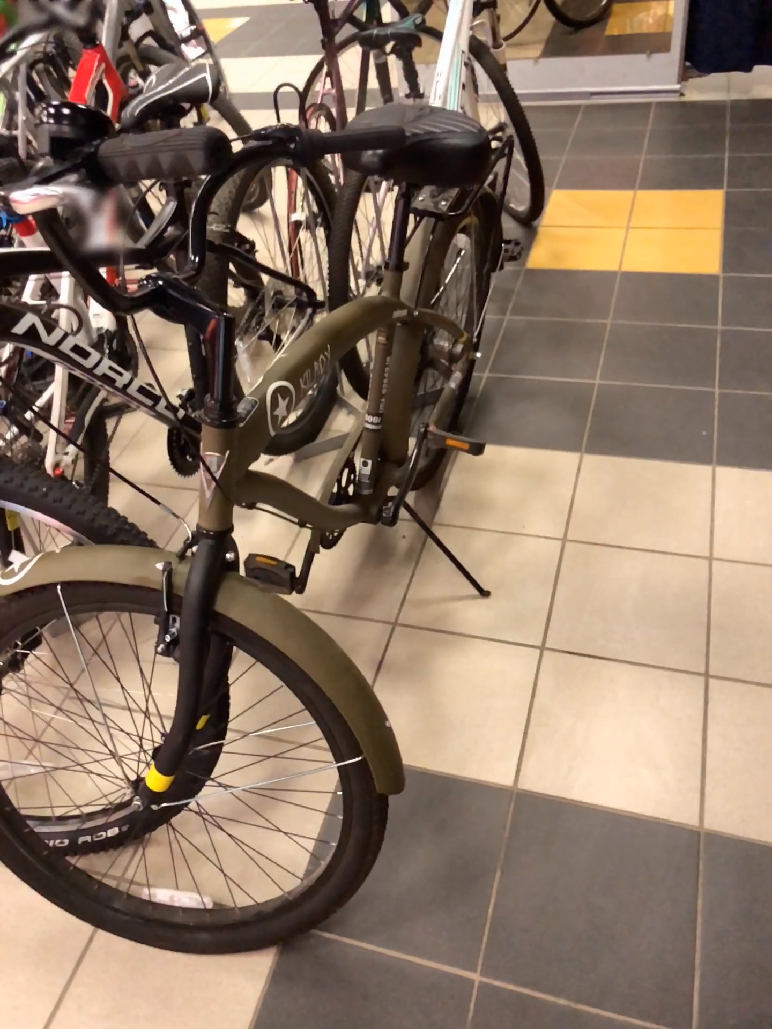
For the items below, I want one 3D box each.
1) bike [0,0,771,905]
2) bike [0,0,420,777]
[{"bbox_3d":[-0.137,-0.365,1.393,0.833,1.131,1.500,20,46,28],"label":"bike"},{"bbox_3d":[-0.566,-0.283,1.369,0.664,1.228,0.976,16,40,25],"label":"bike"}]
